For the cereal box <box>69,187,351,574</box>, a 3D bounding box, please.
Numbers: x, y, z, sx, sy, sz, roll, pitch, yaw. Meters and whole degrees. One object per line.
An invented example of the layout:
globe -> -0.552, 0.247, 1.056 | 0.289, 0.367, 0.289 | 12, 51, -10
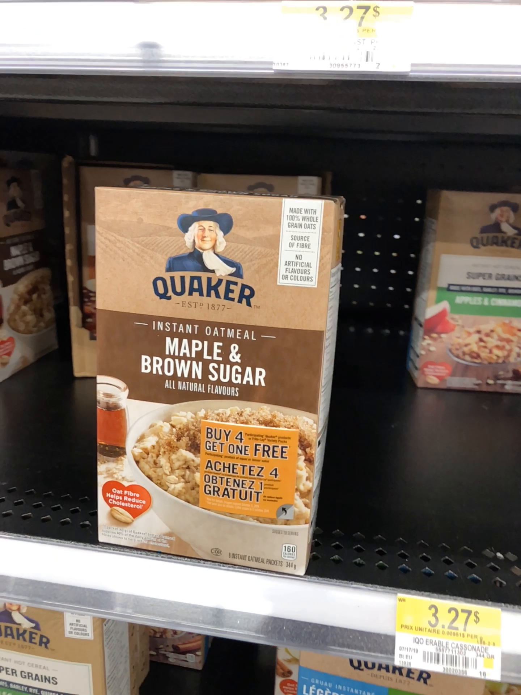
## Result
cereal box -> -0.026, 0.013, 0.317 | 0.130, 0.189, 0.060 | 6, 16, 10

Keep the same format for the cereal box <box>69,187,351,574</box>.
cereal box -> -0.026, 0.013, 0.317 | 0.130, 0.189, 0.060 | 6, 16, 10
